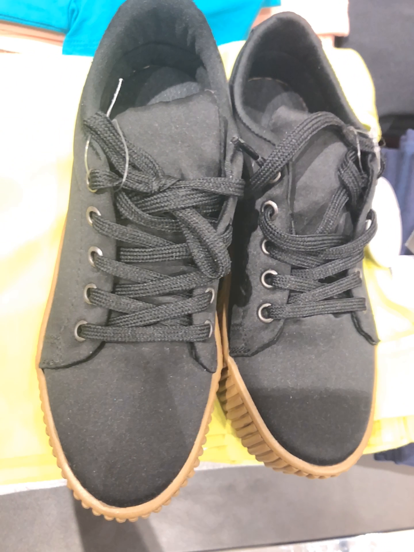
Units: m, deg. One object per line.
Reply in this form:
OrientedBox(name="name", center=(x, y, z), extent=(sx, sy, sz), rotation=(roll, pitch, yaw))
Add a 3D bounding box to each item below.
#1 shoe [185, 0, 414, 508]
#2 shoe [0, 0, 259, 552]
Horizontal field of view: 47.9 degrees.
OrientedBox(name="shoe", center=(0.047, -0.024, 0.245), extent=(0.090, 0.080, 0.240), rotation=(-1, 77, -14))
OrientedBox(name="shoe", center=(-0.034, -0.013, 0.218), extent=(0.090, 0.080, 0.230), rotation=(3, 76, -13))
